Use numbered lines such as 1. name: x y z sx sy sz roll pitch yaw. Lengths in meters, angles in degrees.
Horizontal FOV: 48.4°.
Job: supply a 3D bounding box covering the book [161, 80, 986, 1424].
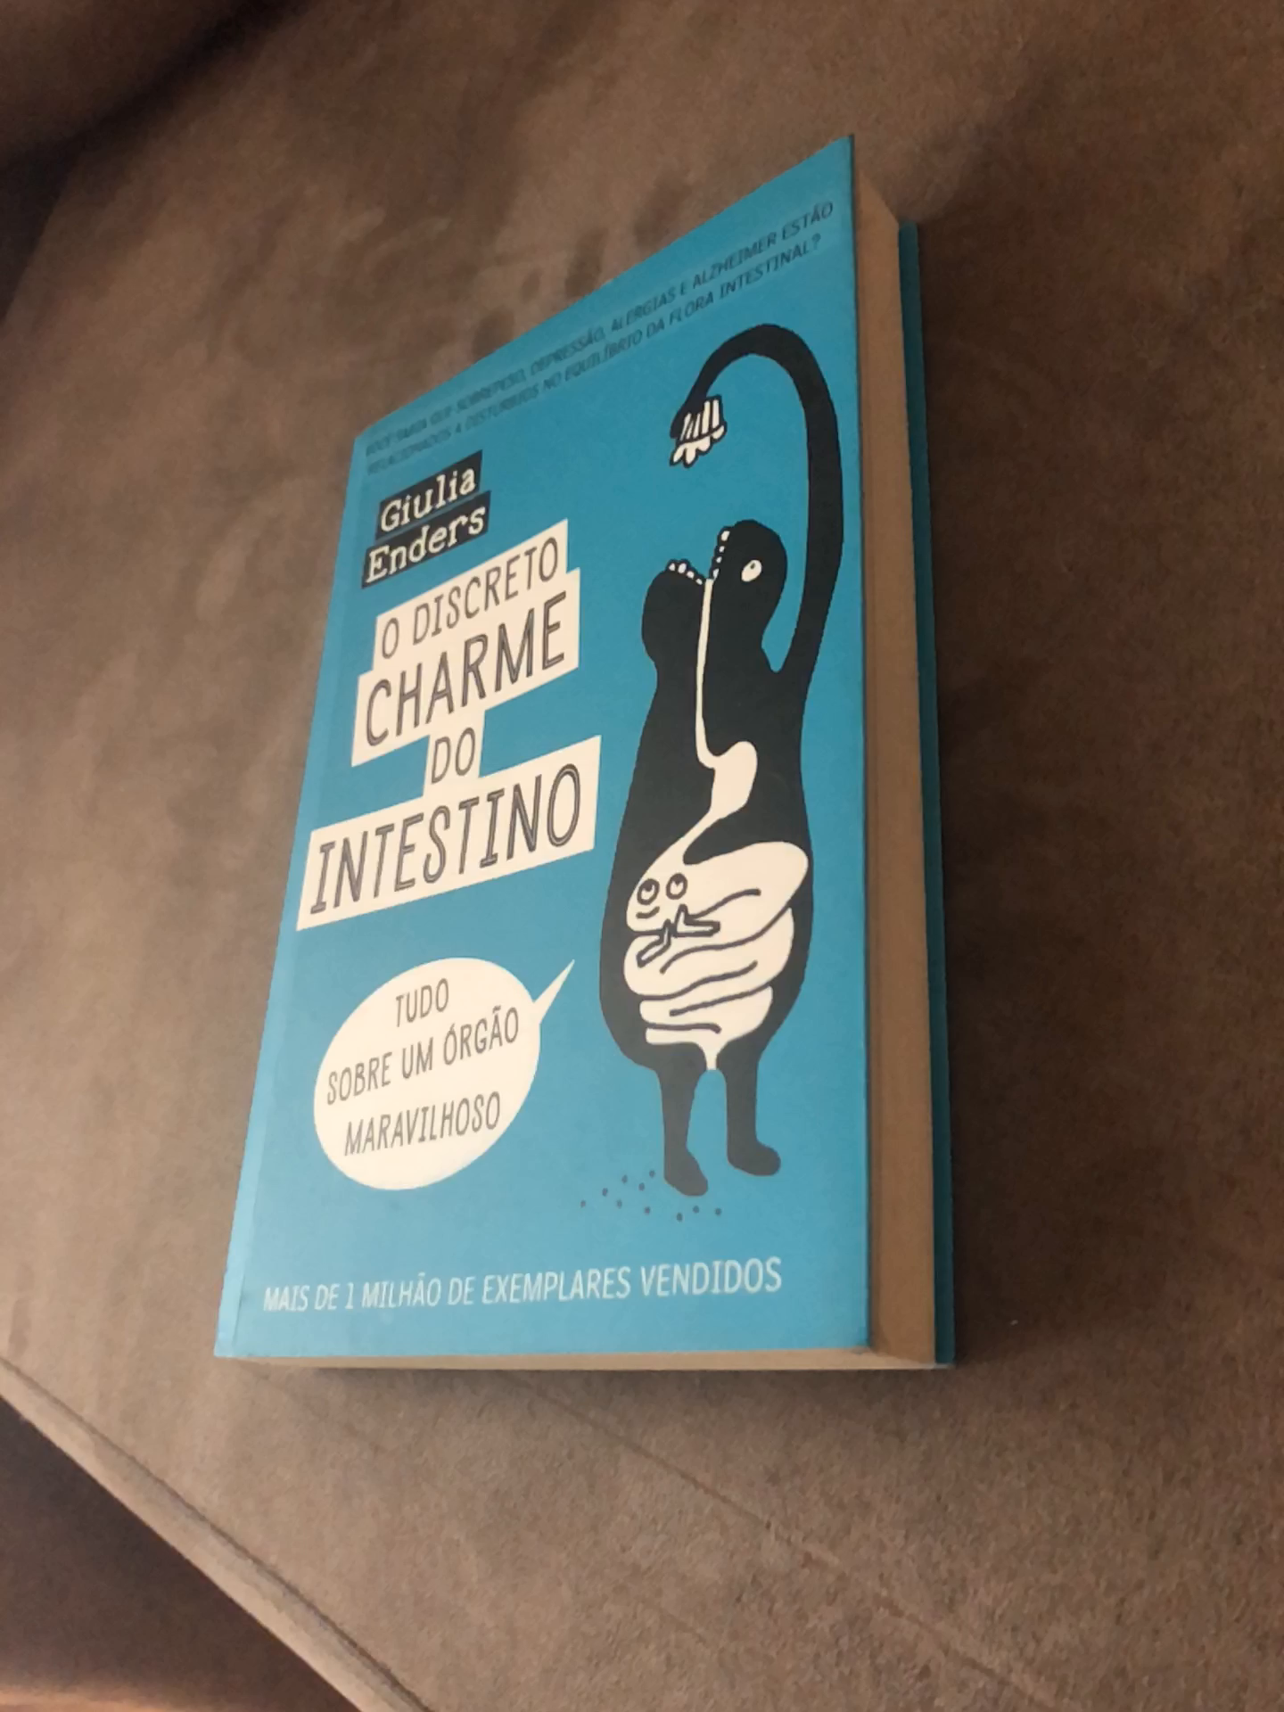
1. book: -0.013 -0.018 0.261 0.141 0.030 0.220 -15 60 36
